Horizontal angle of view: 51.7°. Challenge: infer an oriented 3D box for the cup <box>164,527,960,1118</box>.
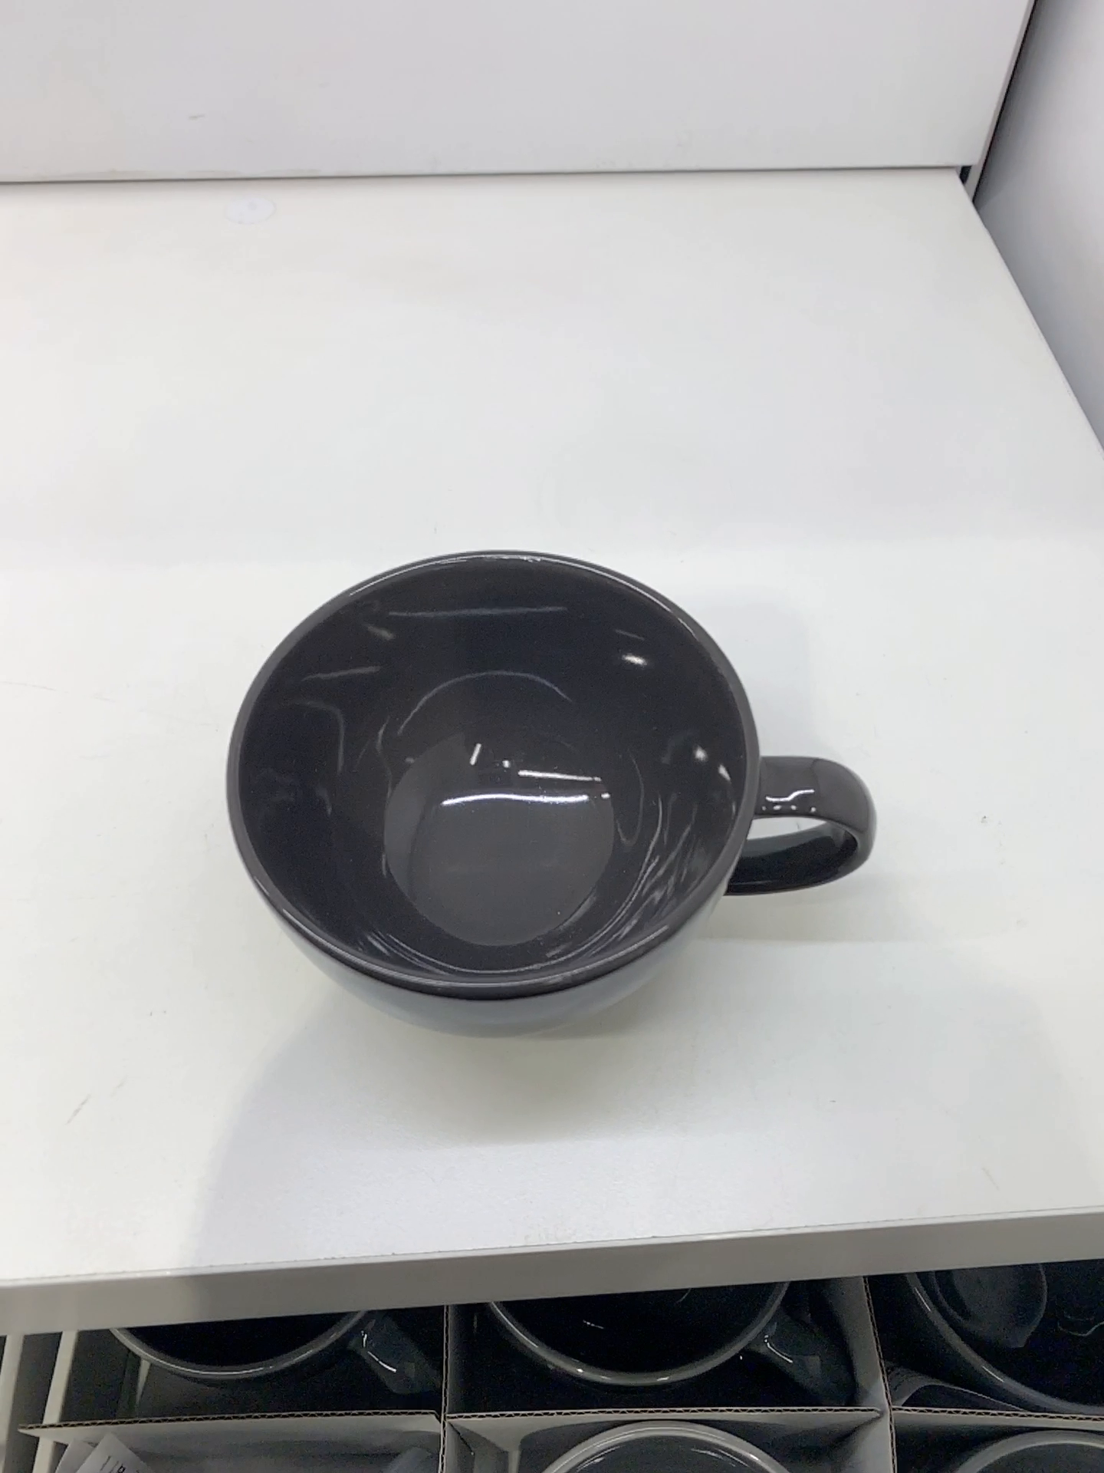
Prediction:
[{"bbox_3d":[0.003,0.014,0.239,0.130,0.050,0.110,2,53,0],"label":"cup"}]
